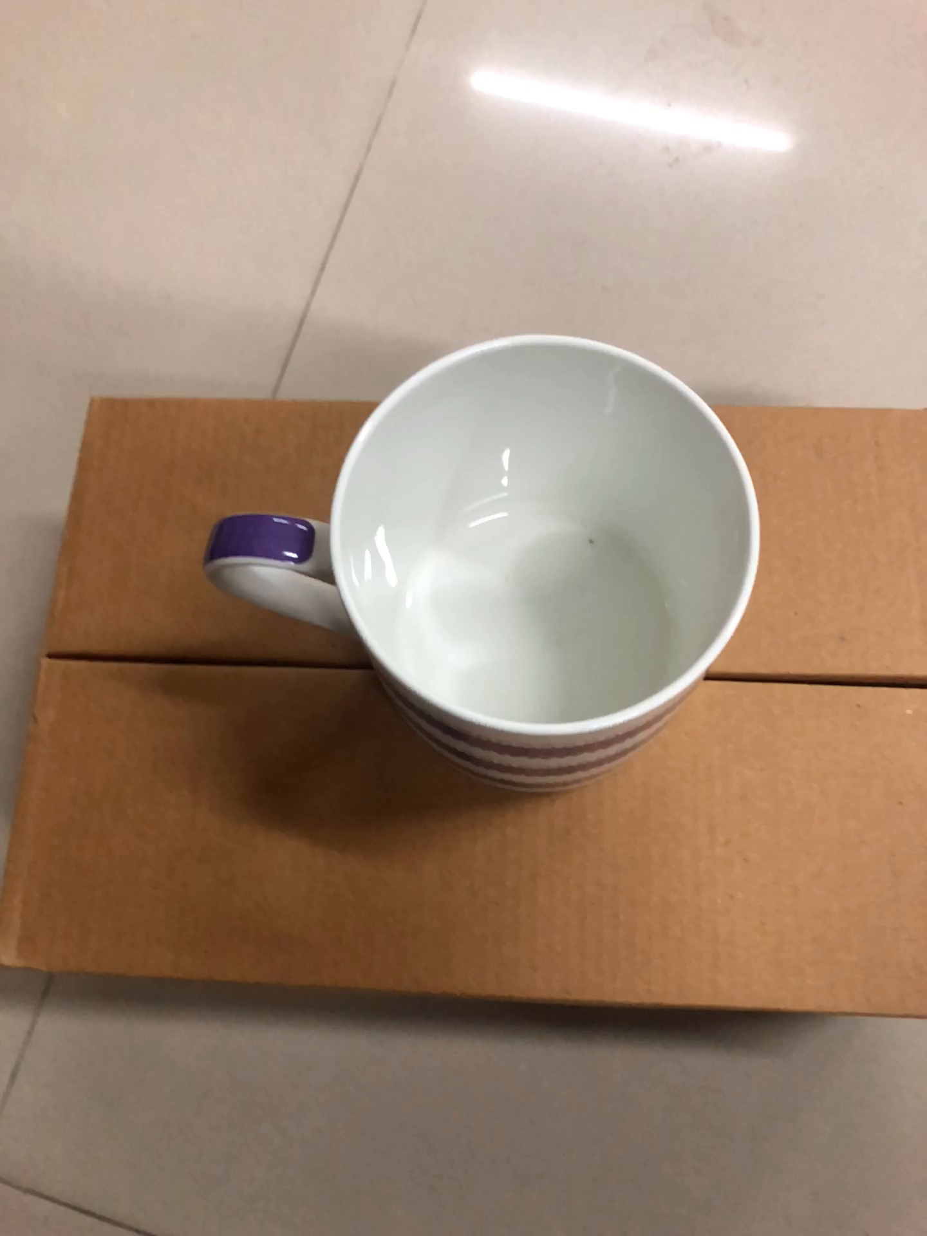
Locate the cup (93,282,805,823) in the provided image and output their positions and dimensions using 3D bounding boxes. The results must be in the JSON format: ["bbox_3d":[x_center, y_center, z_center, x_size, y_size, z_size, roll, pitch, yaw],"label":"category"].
[{"bbox_3d":[0.001,-0.008,0.230,0.120,0.090,0.090,2,73,4],"label":"cup"}]
